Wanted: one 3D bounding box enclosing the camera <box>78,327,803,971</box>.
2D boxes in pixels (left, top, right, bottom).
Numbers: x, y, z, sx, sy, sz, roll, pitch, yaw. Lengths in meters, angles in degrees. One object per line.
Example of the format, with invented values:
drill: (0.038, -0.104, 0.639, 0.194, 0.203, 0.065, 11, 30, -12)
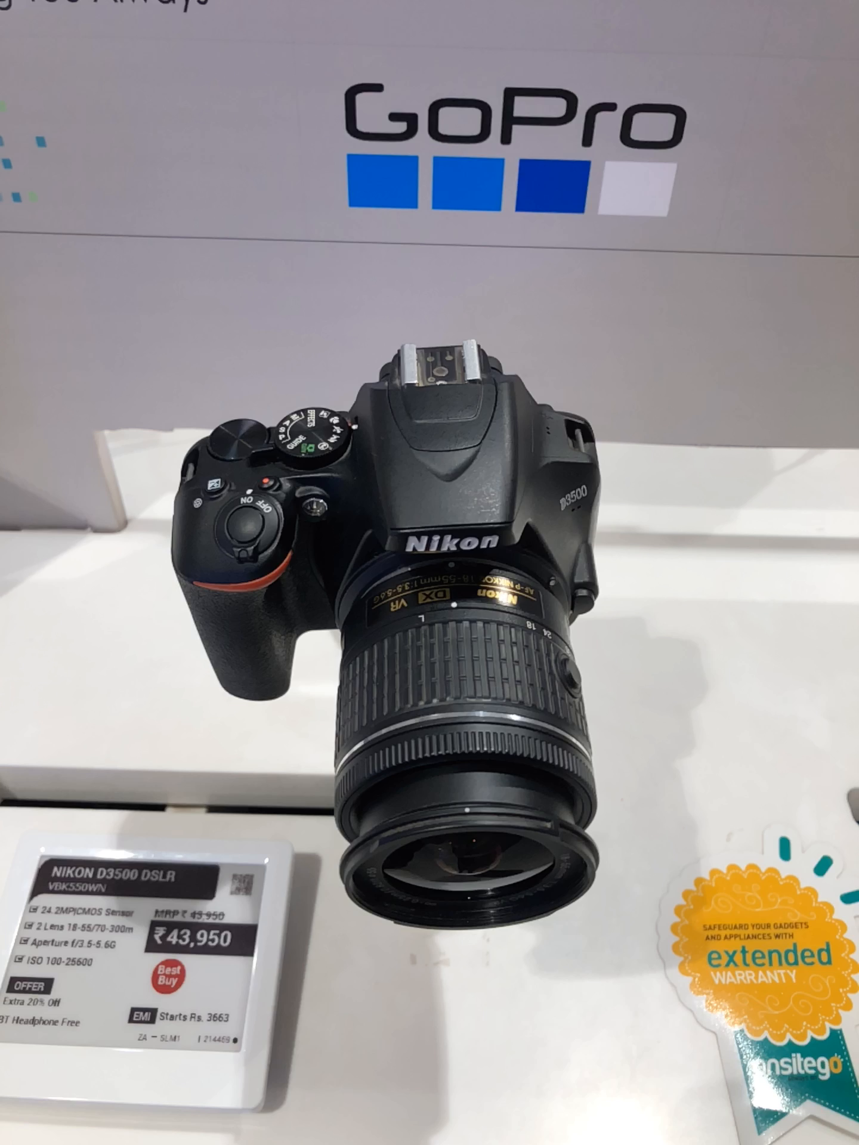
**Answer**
camera: (-0.002, 0.014, 0.231, 0.120, 0.089, 0.121, -2, 47, -3)
